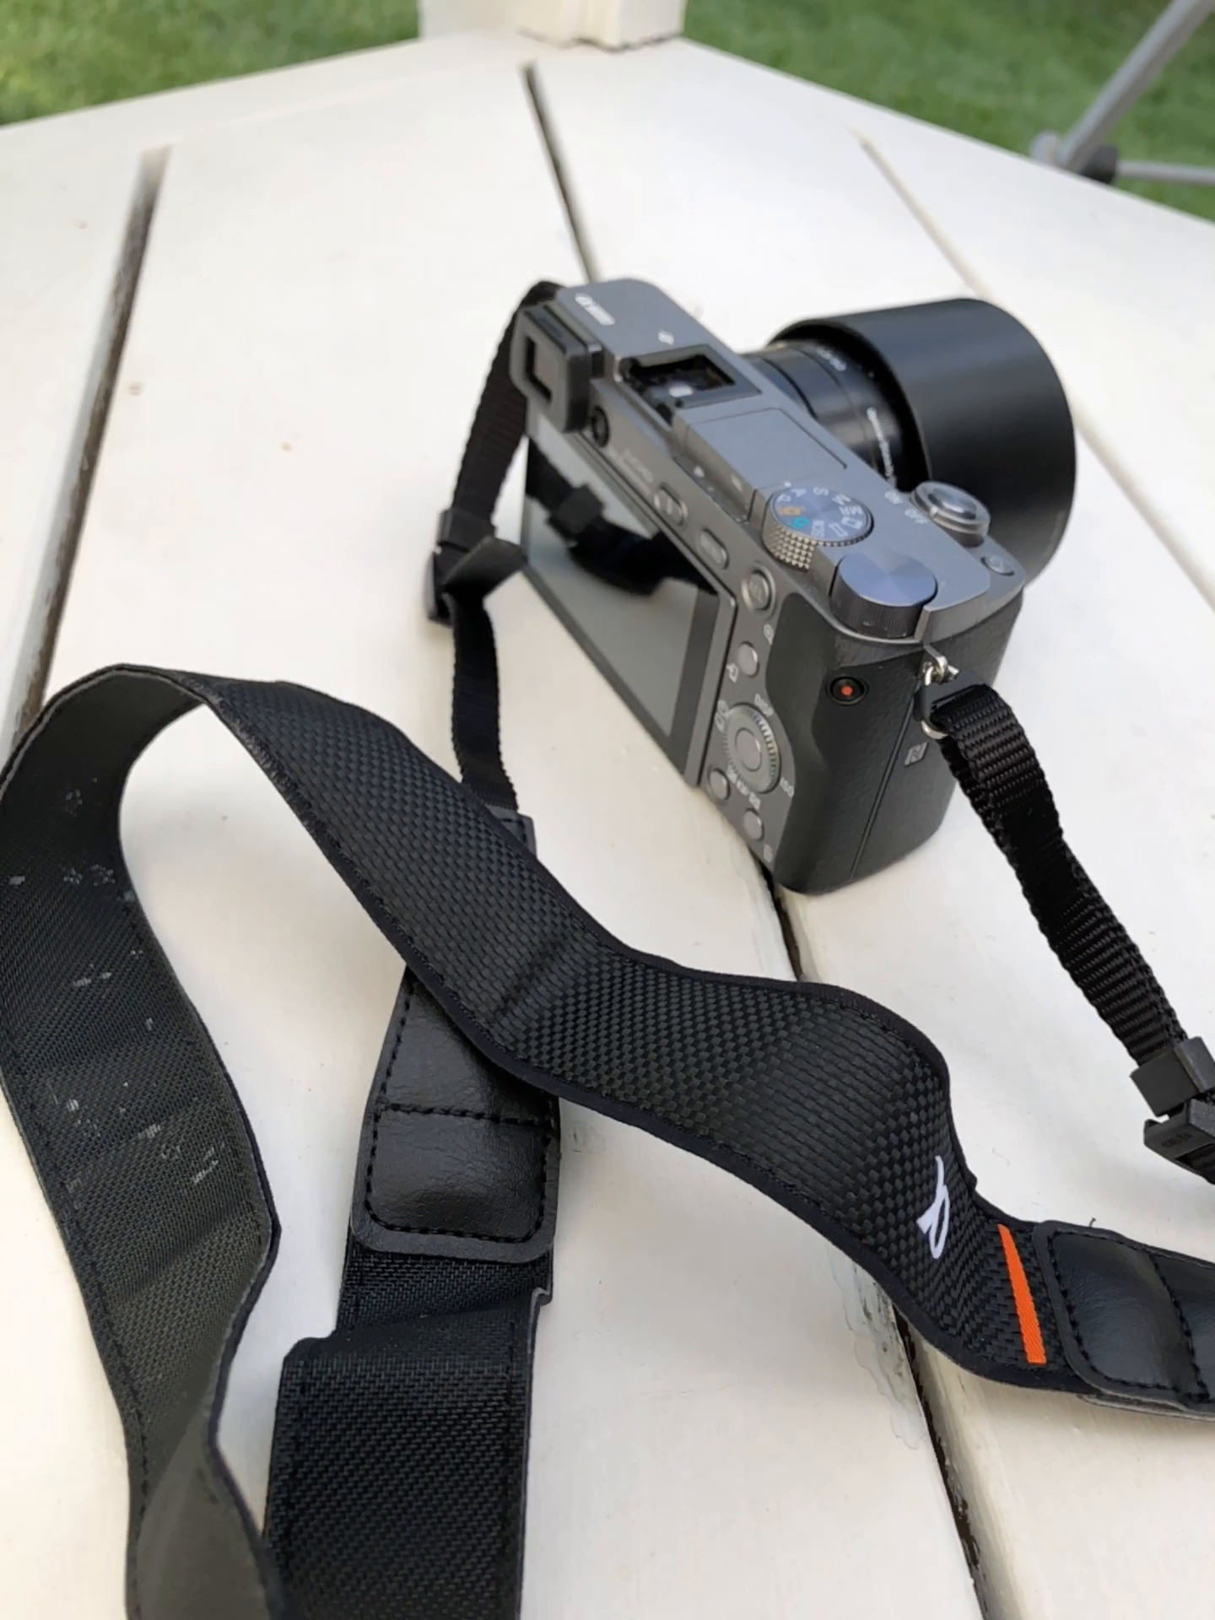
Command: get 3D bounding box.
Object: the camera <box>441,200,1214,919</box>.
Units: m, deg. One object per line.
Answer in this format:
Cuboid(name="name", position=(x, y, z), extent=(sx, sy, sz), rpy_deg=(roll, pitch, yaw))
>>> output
Cuboid(name="camera", position=(0.046, -0.064, 0.286), extent=(0.110, 0.070, 0.140), rpy_deg=(-17, 47, -26))
